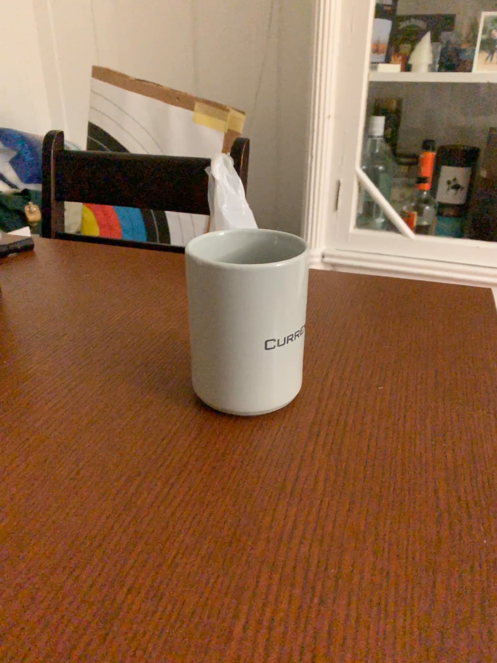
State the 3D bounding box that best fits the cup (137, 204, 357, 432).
[{"bbox_3d":[0.006,-0.022,0.388,0.100,0.109,0.140,14,29,26],"label":"cup"}]
